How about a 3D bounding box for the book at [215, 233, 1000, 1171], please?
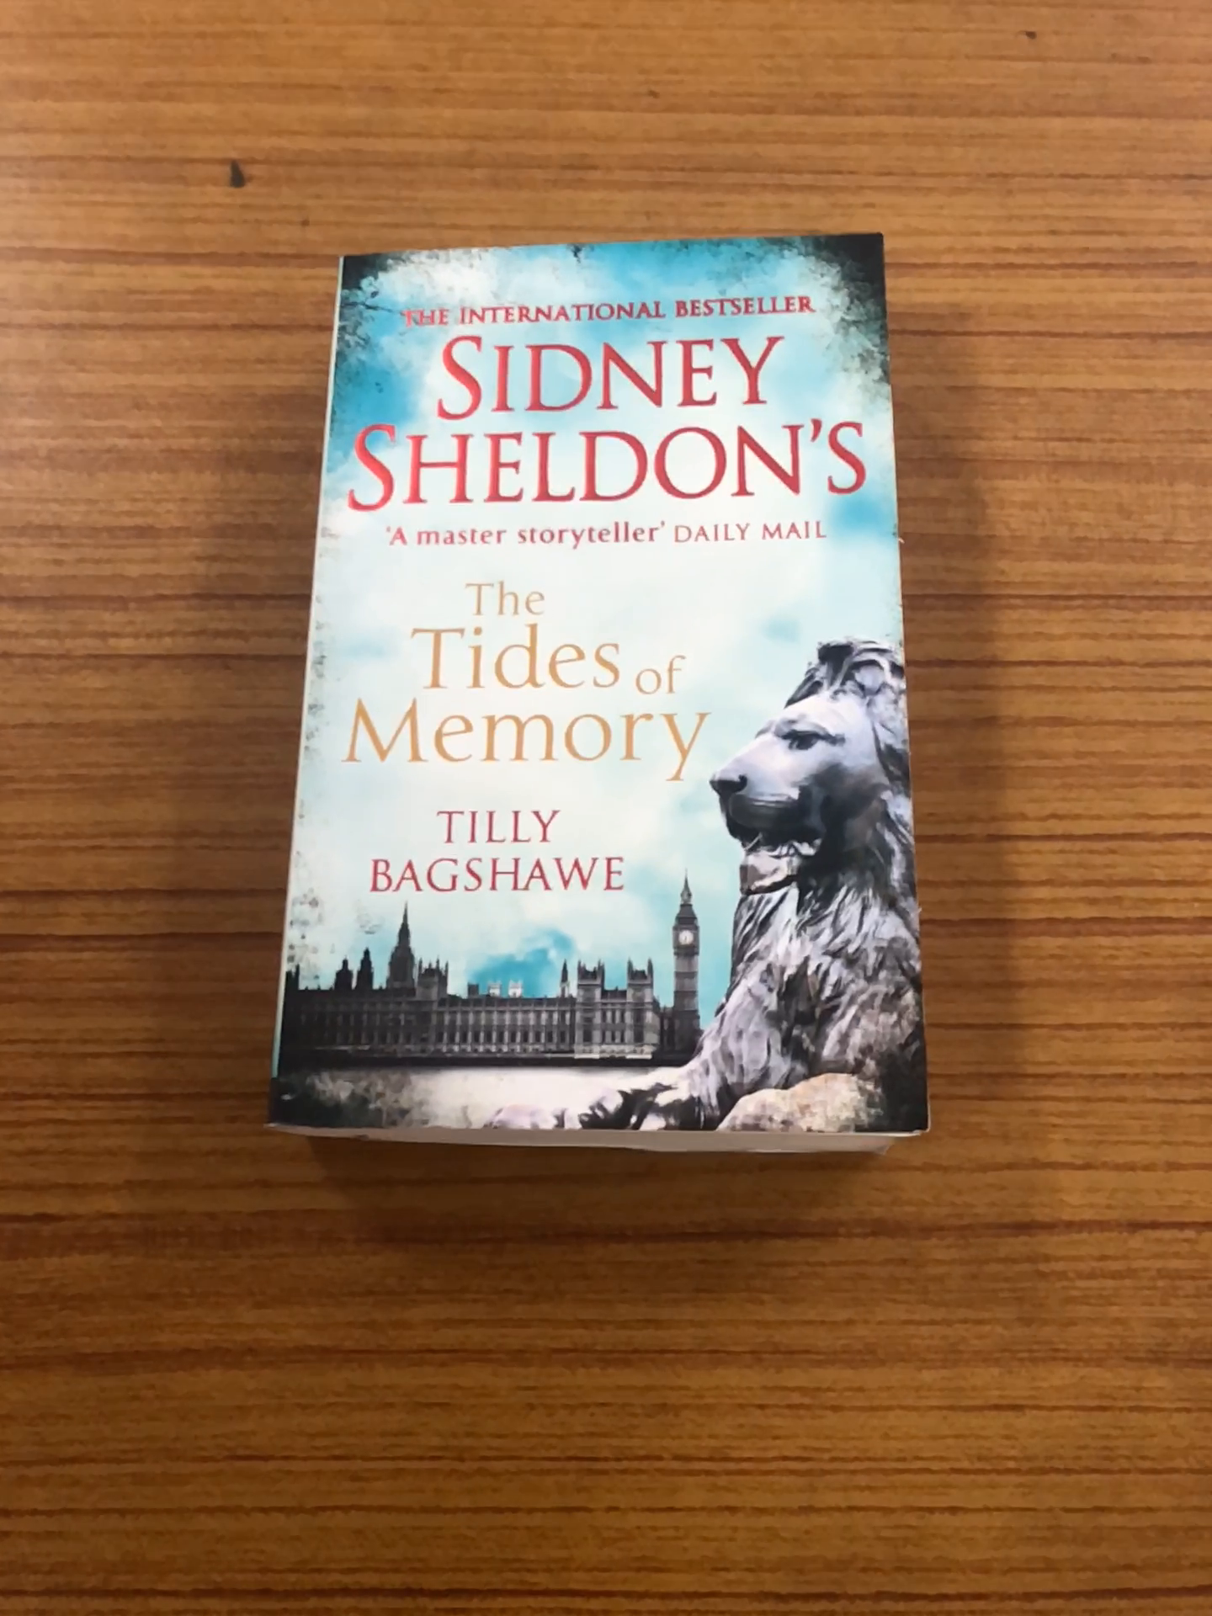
[{"bbox_3d":[0.001,-0.021,0.252,0.122,0.037,0.168,-1,73,4],"label":"book"}]
